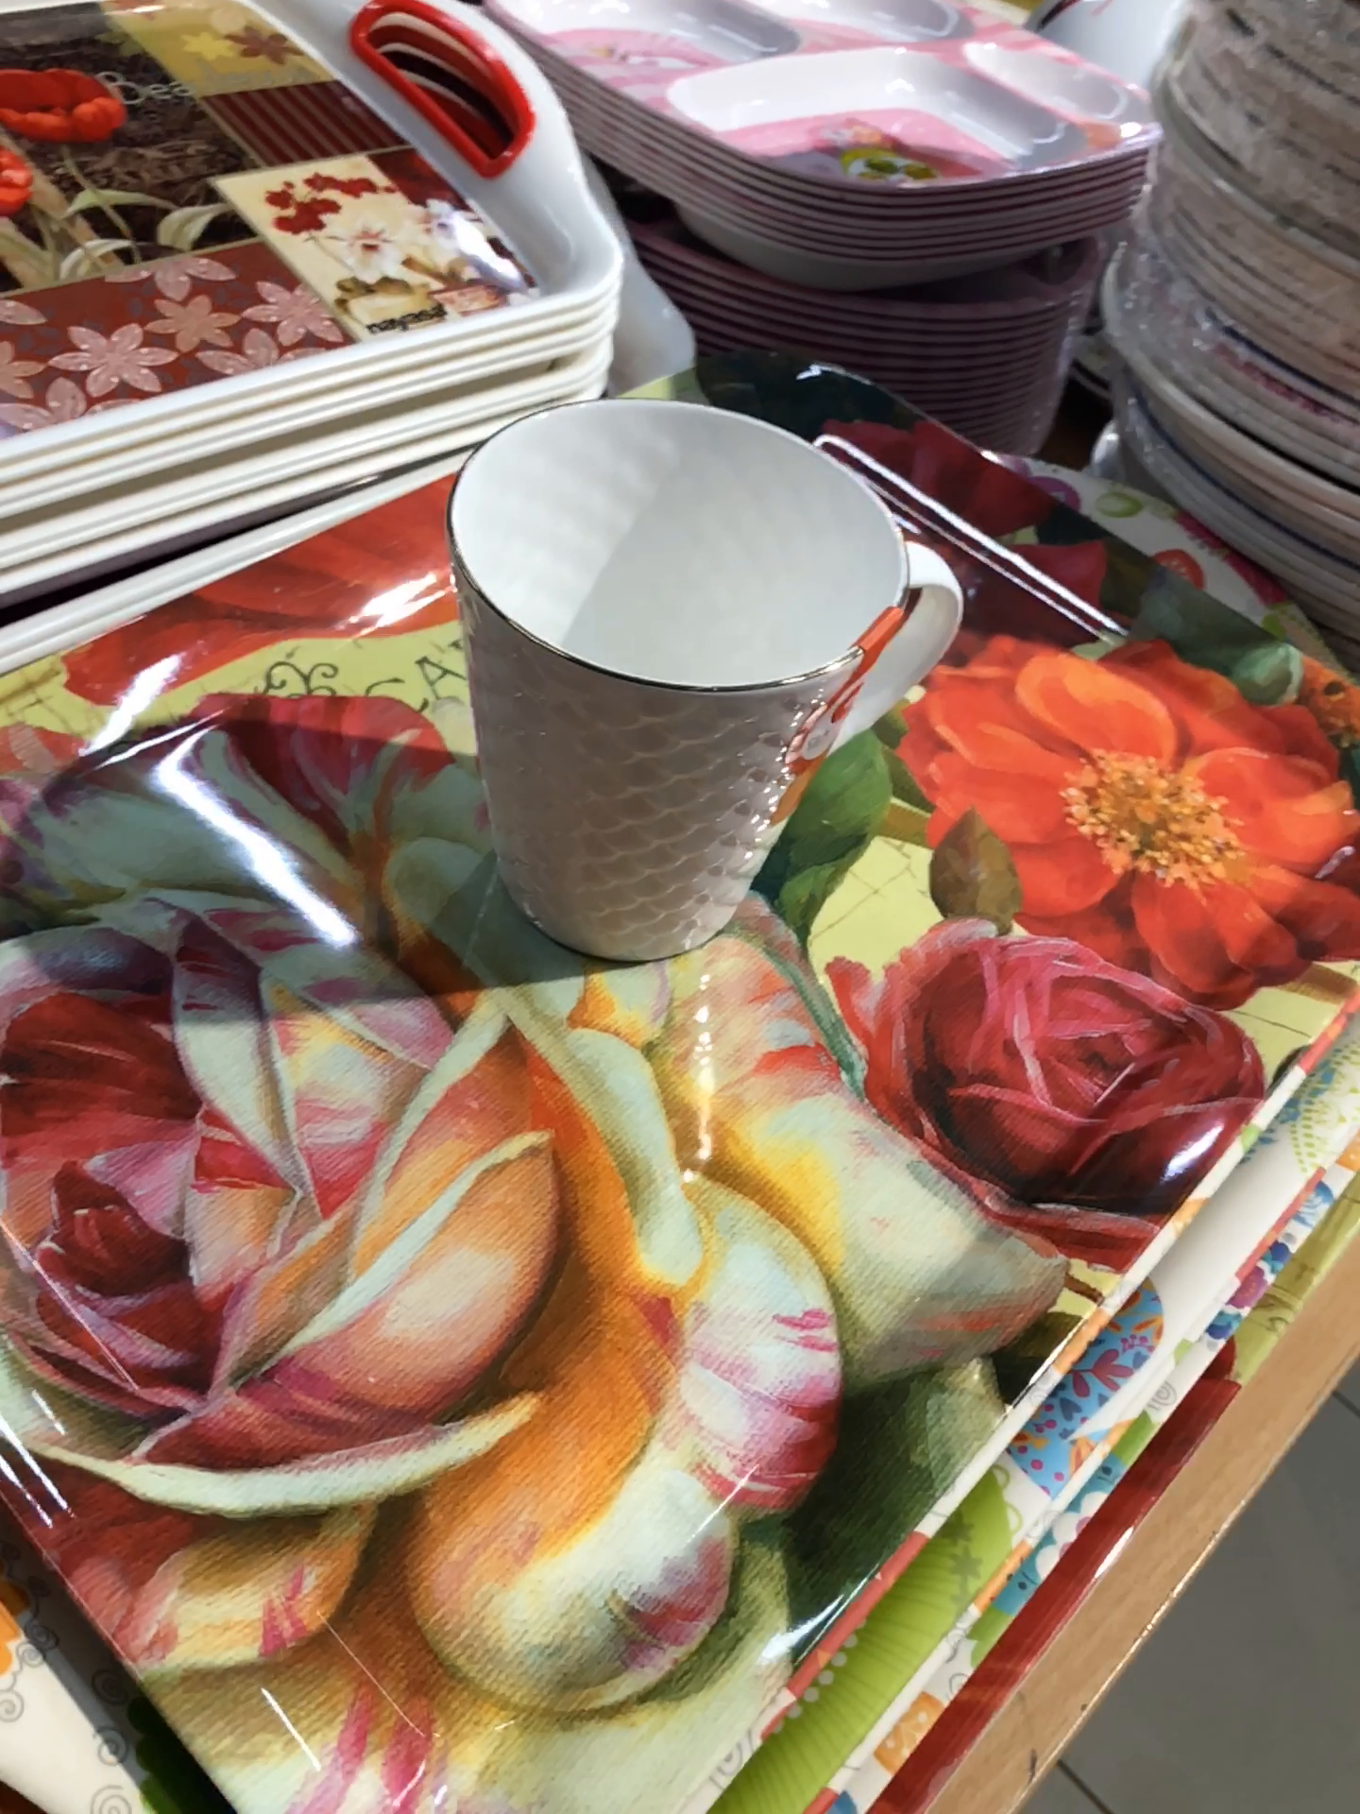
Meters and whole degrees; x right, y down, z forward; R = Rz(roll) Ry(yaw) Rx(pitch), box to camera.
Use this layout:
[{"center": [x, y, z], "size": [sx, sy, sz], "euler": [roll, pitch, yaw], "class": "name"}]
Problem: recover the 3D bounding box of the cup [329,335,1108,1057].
[{"center": [0.001, -0.051, 0.327], "size": [0.120, 0.089, 0.100], "euler": [-17, 53, -24], "class": "cup"}]
